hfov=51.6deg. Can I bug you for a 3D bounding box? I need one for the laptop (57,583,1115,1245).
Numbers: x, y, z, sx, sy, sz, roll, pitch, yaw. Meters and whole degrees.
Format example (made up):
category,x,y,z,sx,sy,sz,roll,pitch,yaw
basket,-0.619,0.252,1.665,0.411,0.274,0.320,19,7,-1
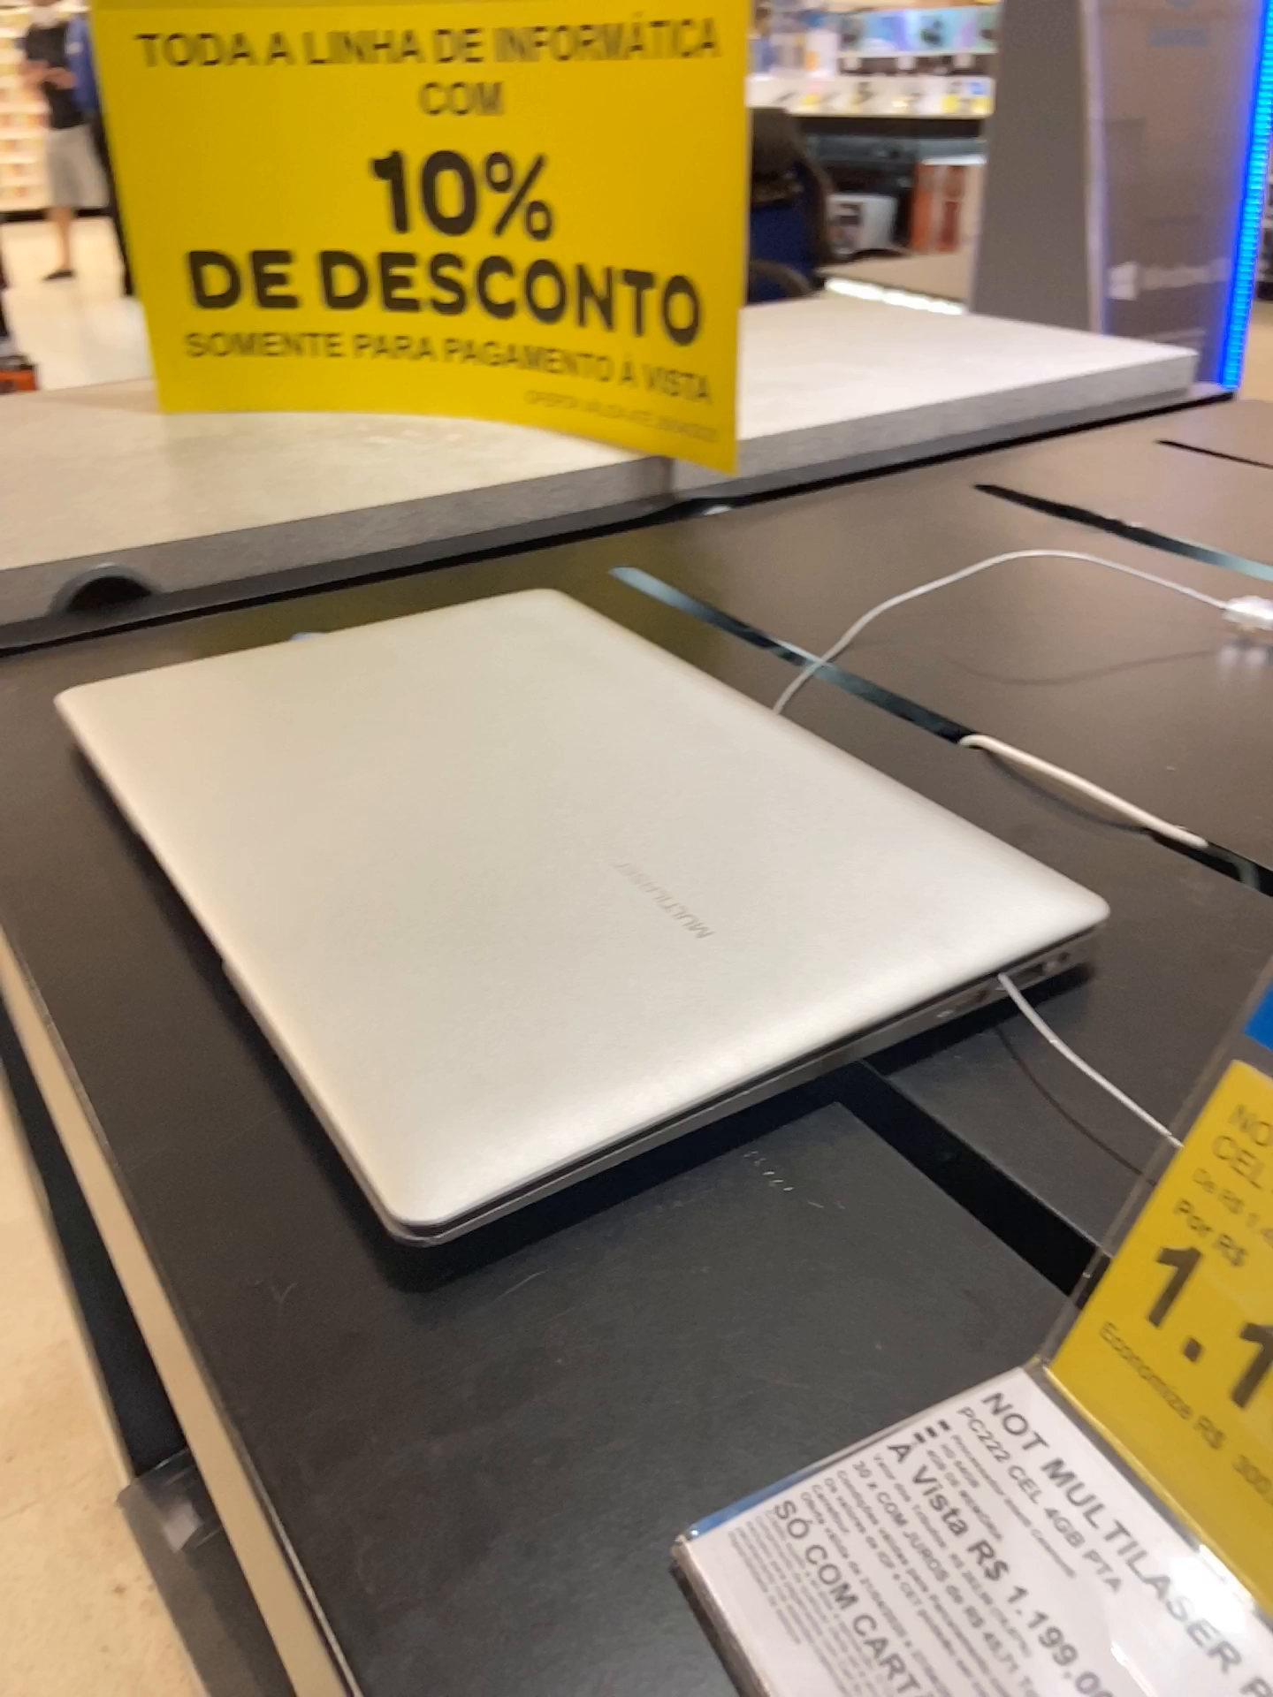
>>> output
category,x,y,z,sx,sy,sz,roll,pitch,yaw
laptop,-0.043,-0.020,0.421,0.205,0.003,0.316,-19,35,-27
